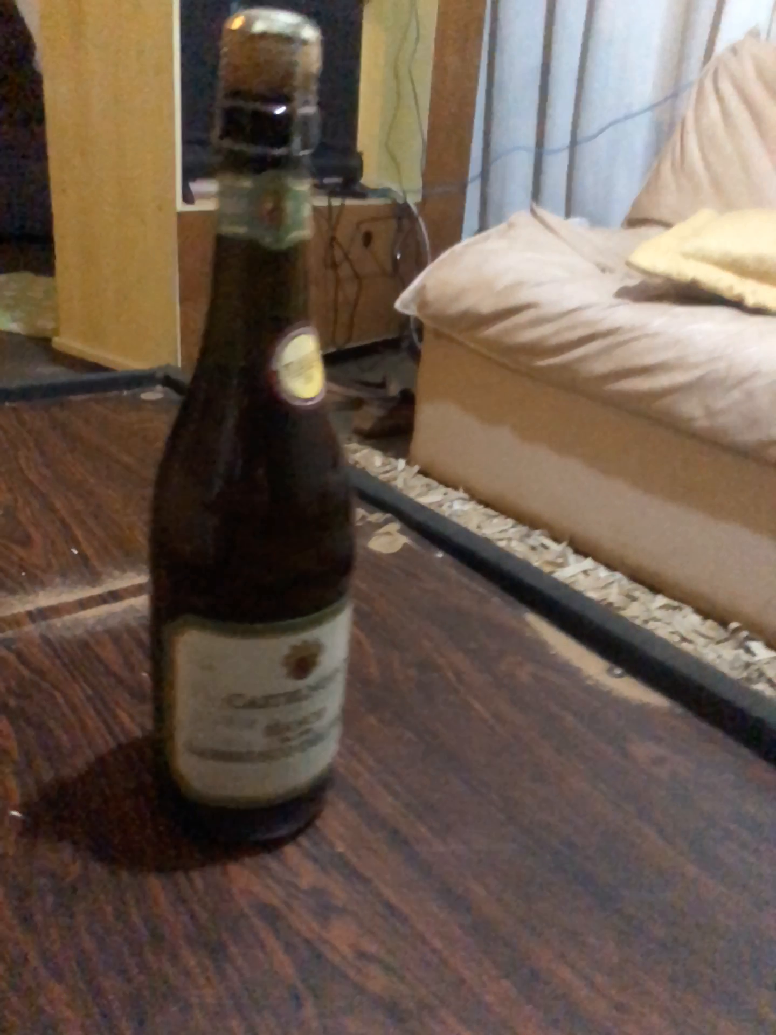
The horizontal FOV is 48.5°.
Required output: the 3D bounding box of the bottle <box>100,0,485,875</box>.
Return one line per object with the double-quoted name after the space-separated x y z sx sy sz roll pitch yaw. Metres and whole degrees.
-0.045 -0.024 0.328 0.090 0.298 0.090 4 23 -2 "bottle"
